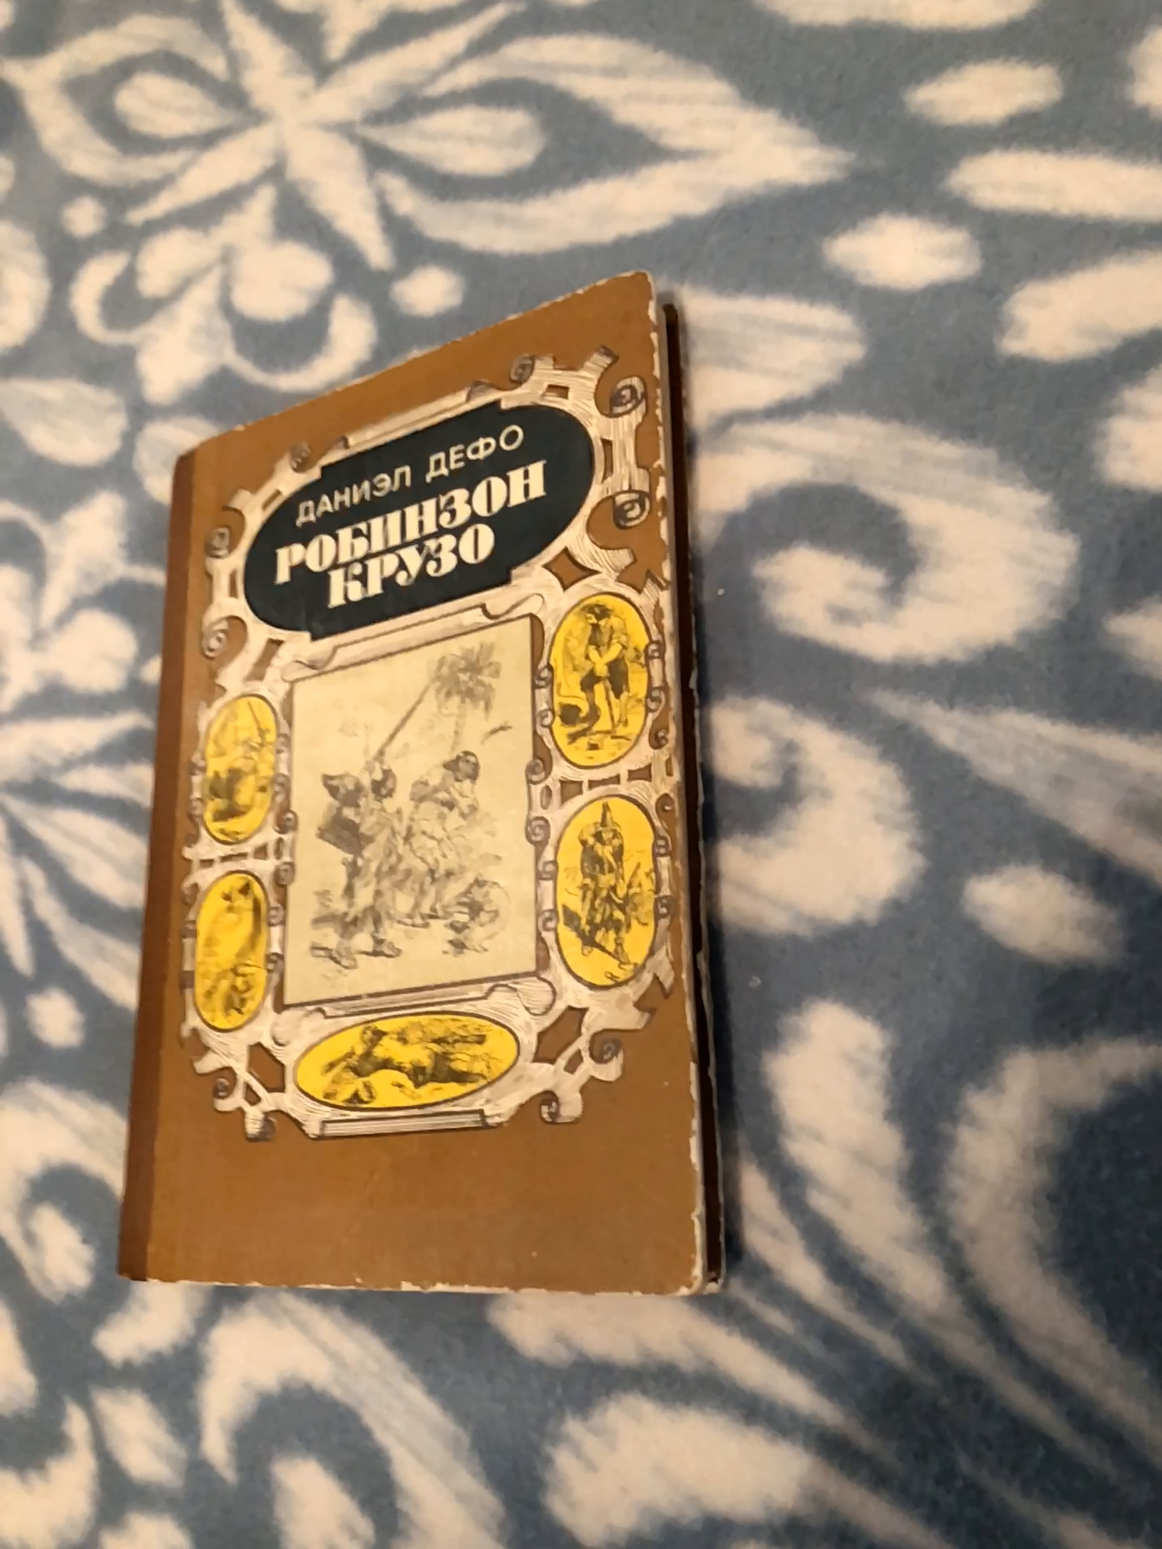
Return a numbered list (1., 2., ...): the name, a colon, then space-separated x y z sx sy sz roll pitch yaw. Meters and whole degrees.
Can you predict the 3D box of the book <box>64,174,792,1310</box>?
1. book: -0.045 -0.005 0.314 0.179 0.024 0.242 -11 70 29
